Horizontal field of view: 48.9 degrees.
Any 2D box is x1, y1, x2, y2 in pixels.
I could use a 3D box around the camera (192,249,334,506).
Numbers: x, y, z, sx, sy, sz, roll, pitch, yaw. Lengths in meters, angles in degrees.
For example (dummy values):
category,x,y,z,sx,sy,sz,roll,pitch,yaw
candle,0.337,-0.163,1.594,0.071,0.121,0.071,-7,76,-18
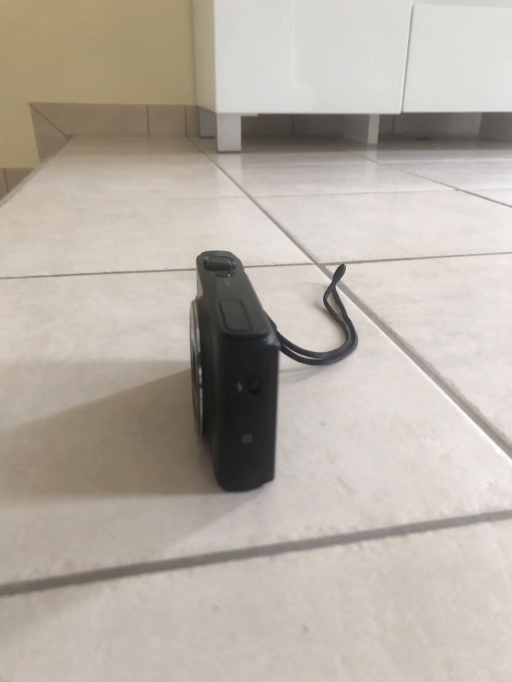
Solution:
category,x,y,z,sx,sy,sz,roll,pitch,yaw
camera,-0.003,0.006,0.233,0.040,0.060,0.110,-3,24,-7
